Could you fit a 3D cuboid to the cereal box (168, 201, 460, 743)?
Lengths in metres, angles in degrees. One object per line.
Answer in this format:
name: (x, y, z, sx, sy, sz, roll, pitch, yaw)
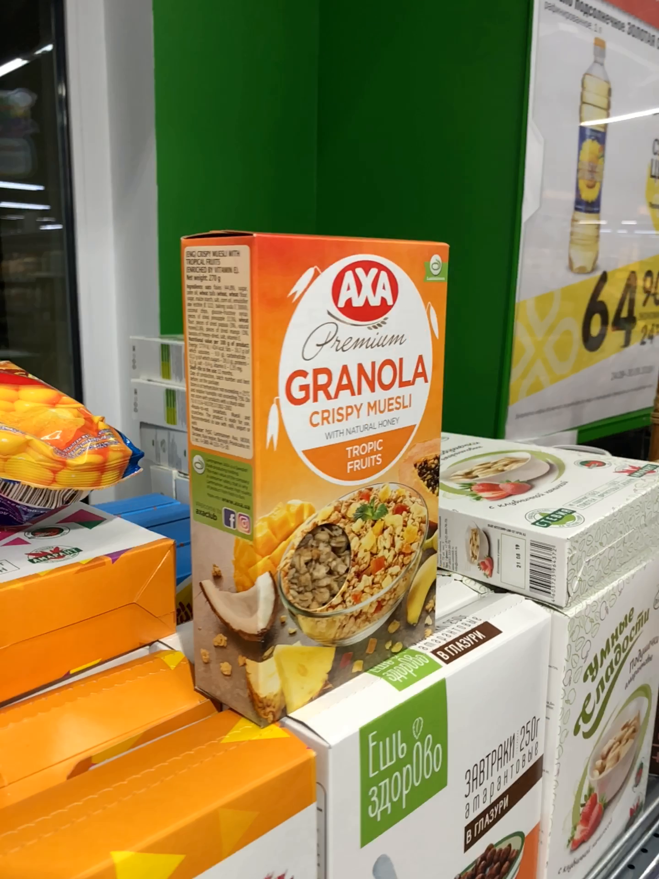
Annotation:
cereal box: (-0.002, 0.007, 0.353, 0.050, 0.219, 0.140, 11, 15, 42)
